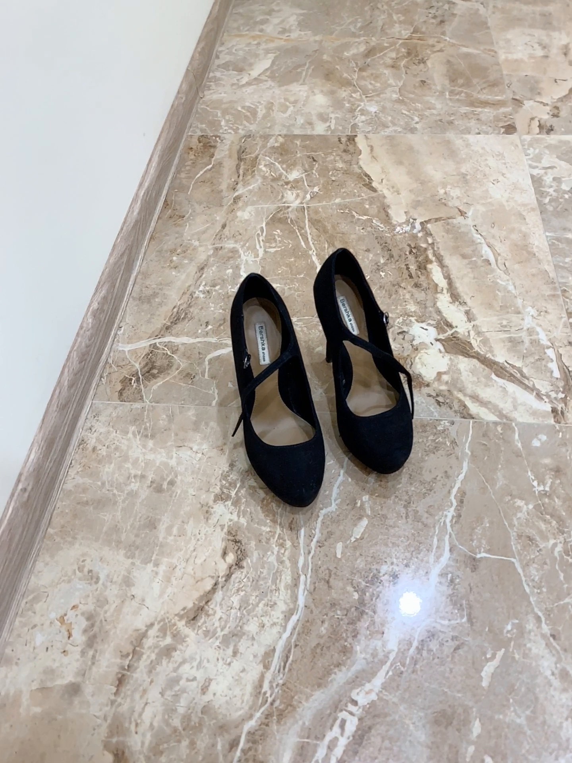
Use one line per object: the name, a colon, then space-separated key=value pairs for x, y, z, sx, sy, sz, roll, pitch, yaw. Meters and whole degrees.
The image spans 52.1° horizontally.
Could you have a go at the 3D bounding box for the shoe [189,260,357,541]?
shoe: x=-0.016 y=0.019 z=0.592 sx=0.089 sy=0.169 sz=0.211 roll=-17 pitch=53 yaw=-10

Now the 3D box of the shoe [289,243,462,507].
shoe: x=0.079 y=-0.008 z=0.610 sx=0.080 sy=0.159 sz=0.211 roll=-17 pitch=53 yaw=-10
